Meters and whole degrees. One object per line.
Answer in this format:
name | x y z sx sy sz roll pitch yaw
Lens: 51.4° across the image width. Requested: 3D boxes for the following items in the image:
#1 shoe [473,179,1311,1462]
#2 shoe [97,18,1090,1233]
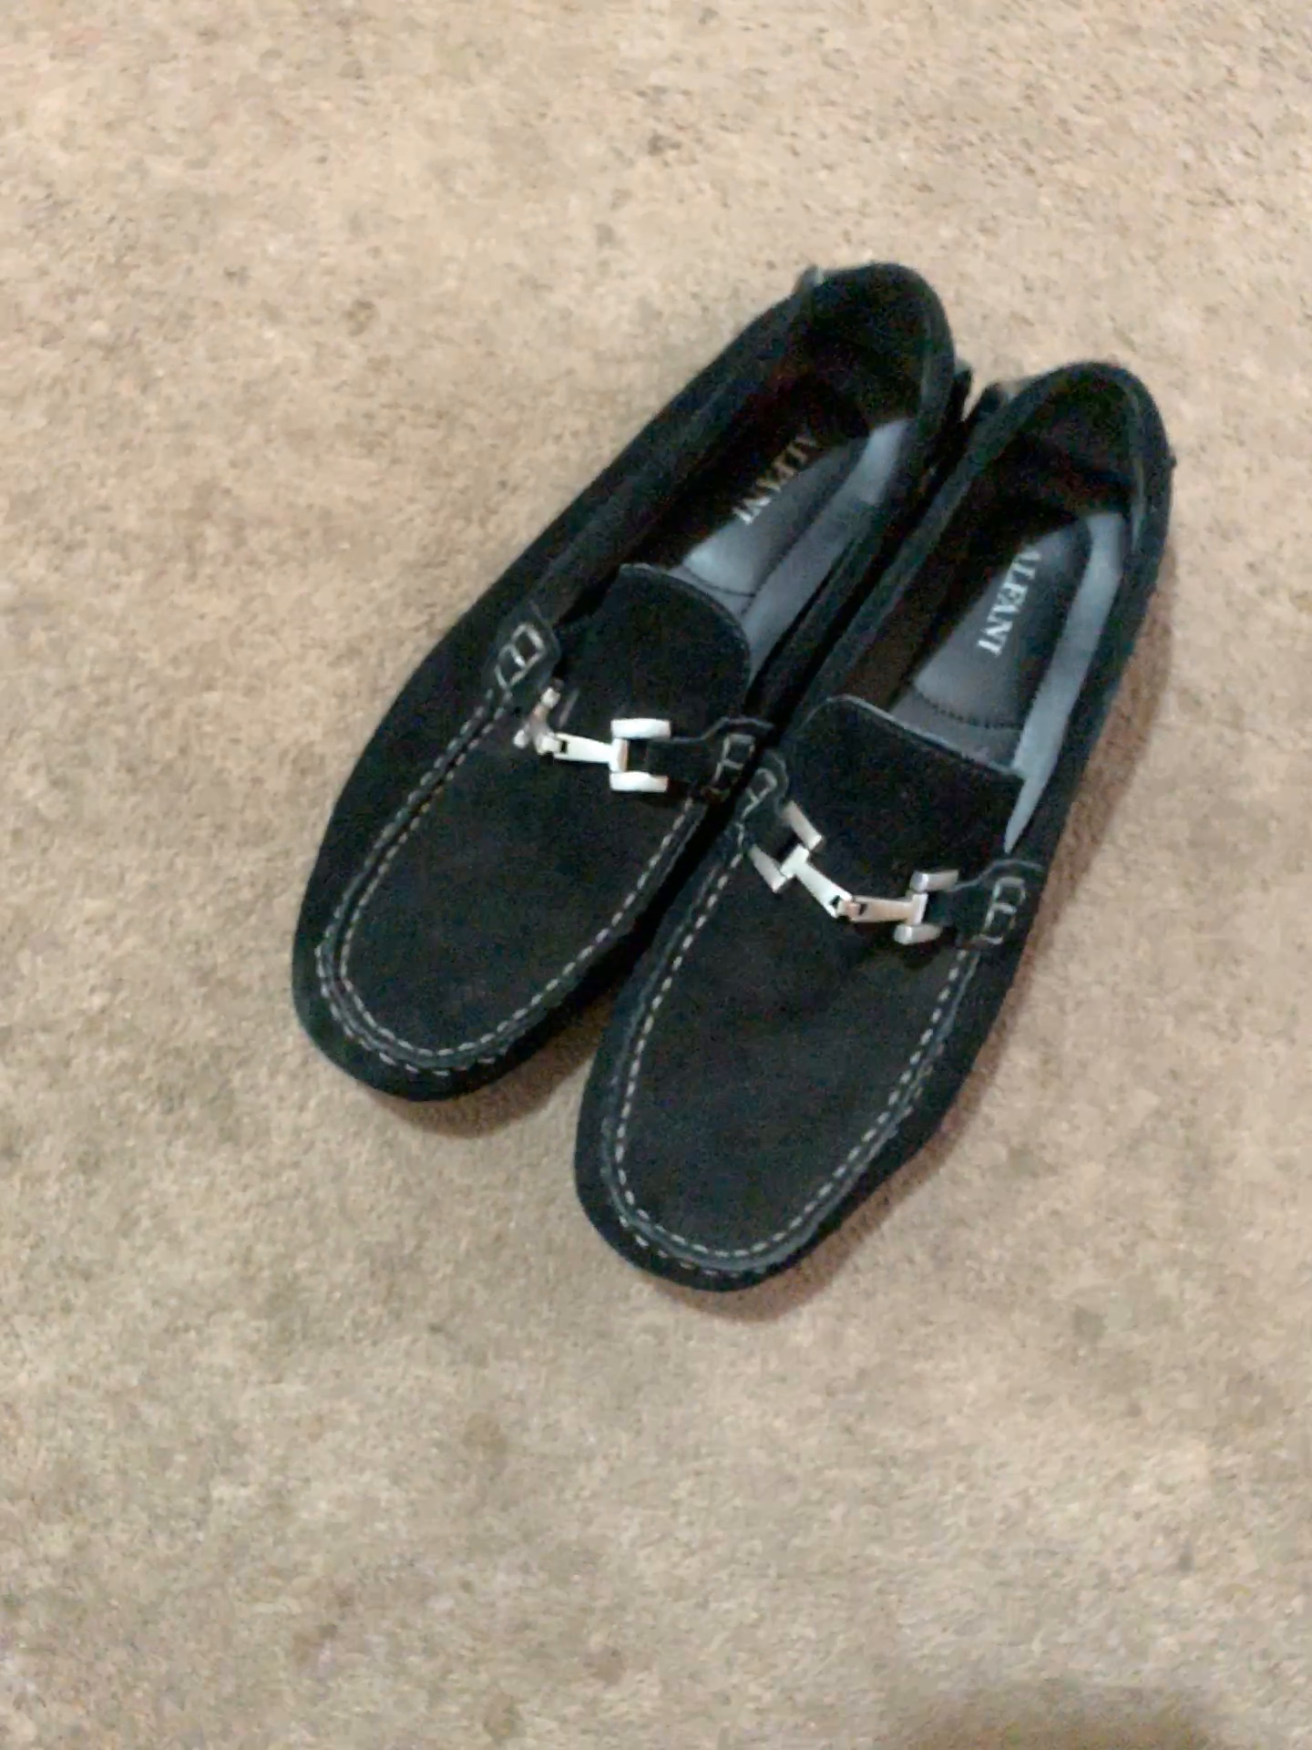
shoe | 0.070 -0.019 0.371 0.100 0.100 0.301 25 78 5
shoe | -0.006 -0.065 0.373 0.100 0.100 0.301 29 78 6
